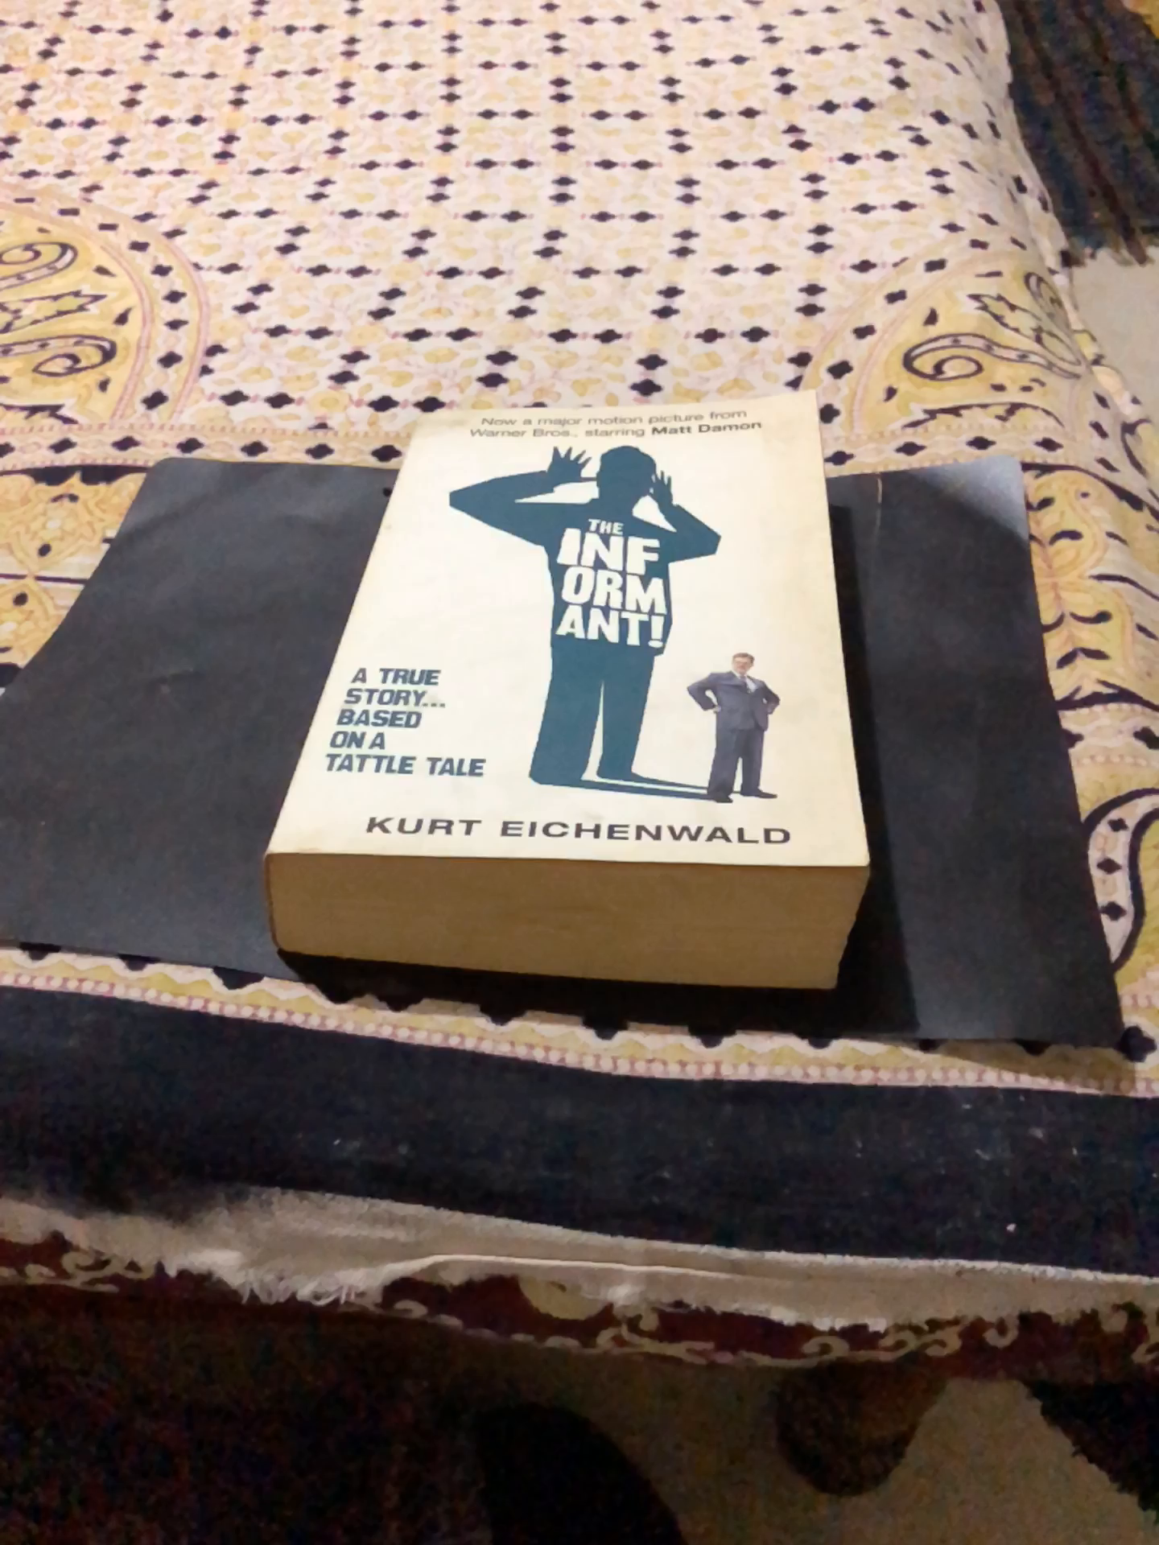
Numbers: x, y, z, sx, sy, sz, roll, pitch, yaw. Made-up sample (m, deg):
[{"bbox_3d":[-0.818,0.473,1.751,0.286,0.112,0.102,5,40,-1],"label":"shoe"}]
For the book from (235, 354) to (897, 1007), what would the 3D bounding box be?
[{"bbox_3d":[0.007,-0.045,0.371,0.140,0.050,0.231,1,43,6],"label":"book"}]
